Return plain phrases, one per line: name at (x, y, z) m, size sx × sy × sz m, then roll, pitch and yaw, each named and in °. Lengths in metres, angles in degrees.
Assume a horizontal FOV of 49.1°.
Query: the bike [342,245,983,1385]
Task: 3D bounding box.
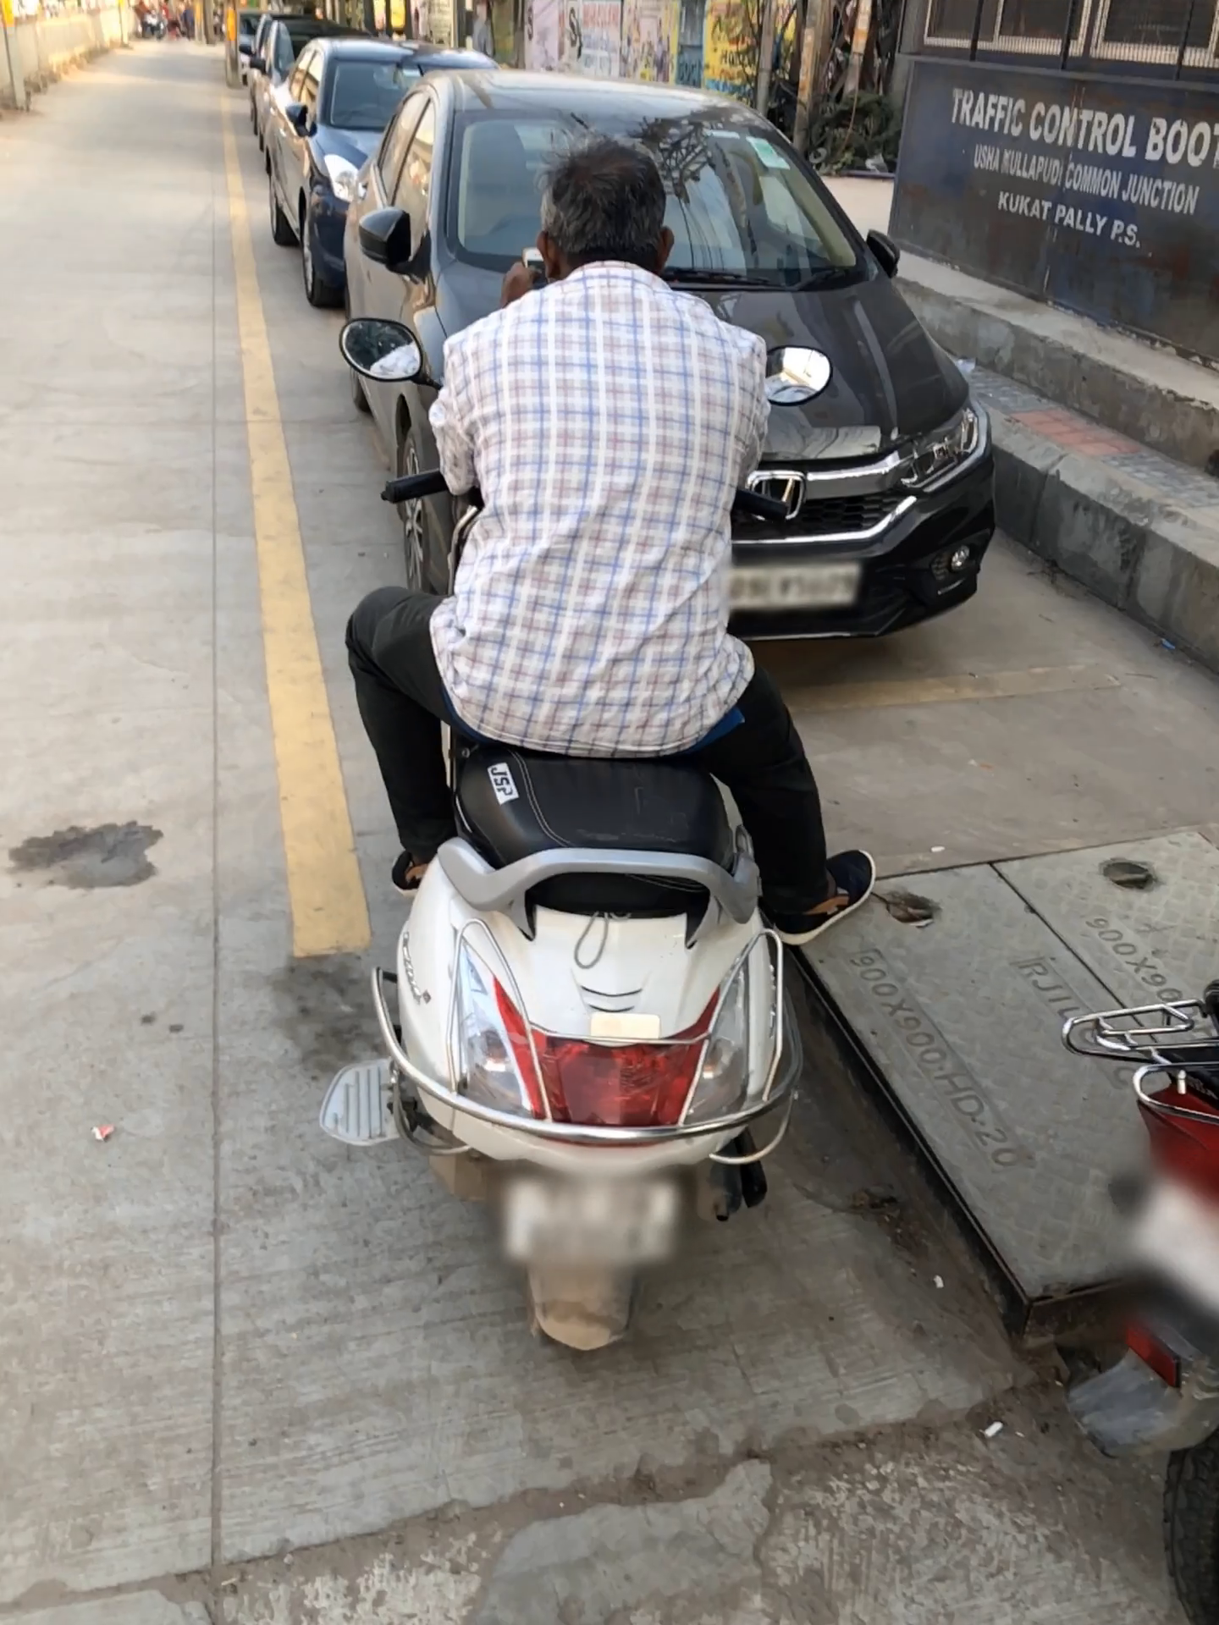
bike at (0.017, -0.167, 2.148) m, size 0.640 × 0.858 × 1.610 m, roll 0°, pitch 39°, yaw -3°
